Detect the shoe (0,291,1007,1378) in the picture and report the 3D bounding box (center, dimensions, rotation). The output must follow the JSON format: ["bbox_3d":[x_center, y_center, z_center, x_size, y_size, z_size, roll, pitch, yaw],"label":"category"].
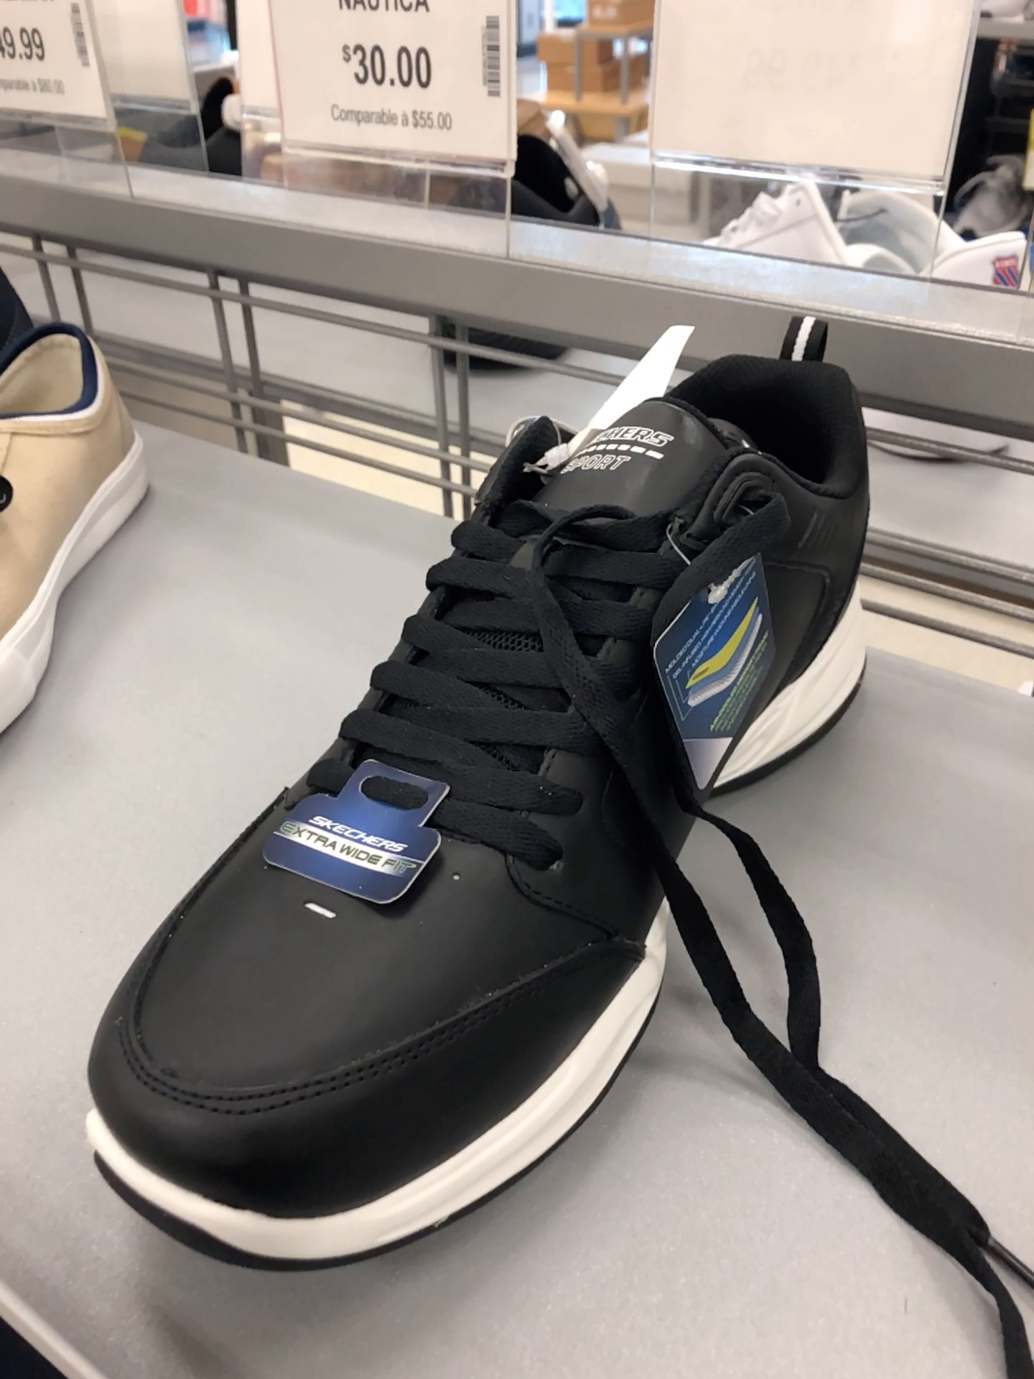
[{"bbox_3d":[0.016,-0.008,0.339,0.130,0.109,0.352,21,41,28],"label":"shoe"}]
